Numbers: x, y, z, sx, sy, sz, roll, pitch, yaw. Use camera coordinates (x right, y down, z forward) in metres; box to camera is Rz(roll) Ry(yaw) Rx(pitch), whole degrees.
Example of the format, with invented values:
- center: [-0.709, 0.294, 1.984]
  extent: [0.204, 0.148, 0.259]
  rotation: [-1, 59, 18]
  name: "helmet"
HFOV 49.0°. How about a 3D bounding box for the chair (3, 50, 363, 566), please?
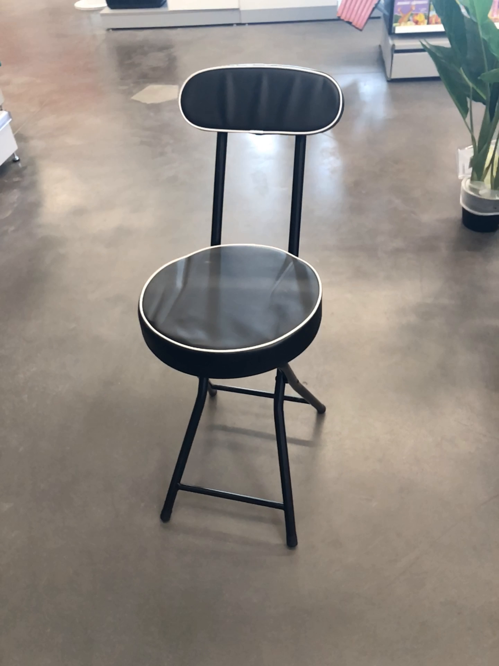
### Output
- center: [-0.017, -0.031, 1.001]
  extent: [0.340, 0.756, 0.513]
  rotation: [7, 43, 14]
  name: "chair"
